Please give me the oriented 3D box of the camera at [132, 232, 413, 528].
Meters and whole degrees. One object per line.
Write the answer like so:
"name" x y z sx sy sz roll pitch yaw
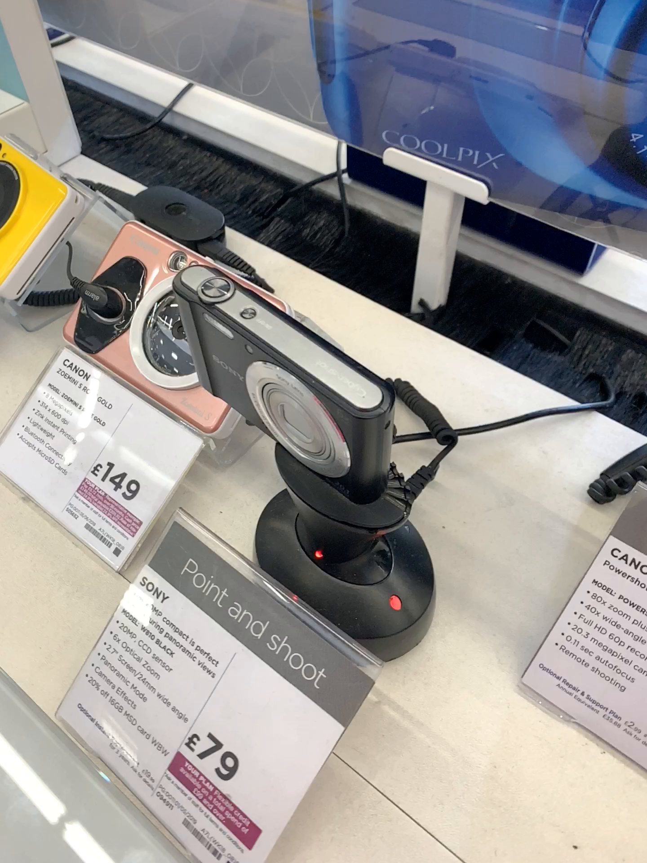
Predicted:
"camera" -0.019 -0.020 0.241 0.100 0.060 0.030 36 61 25
